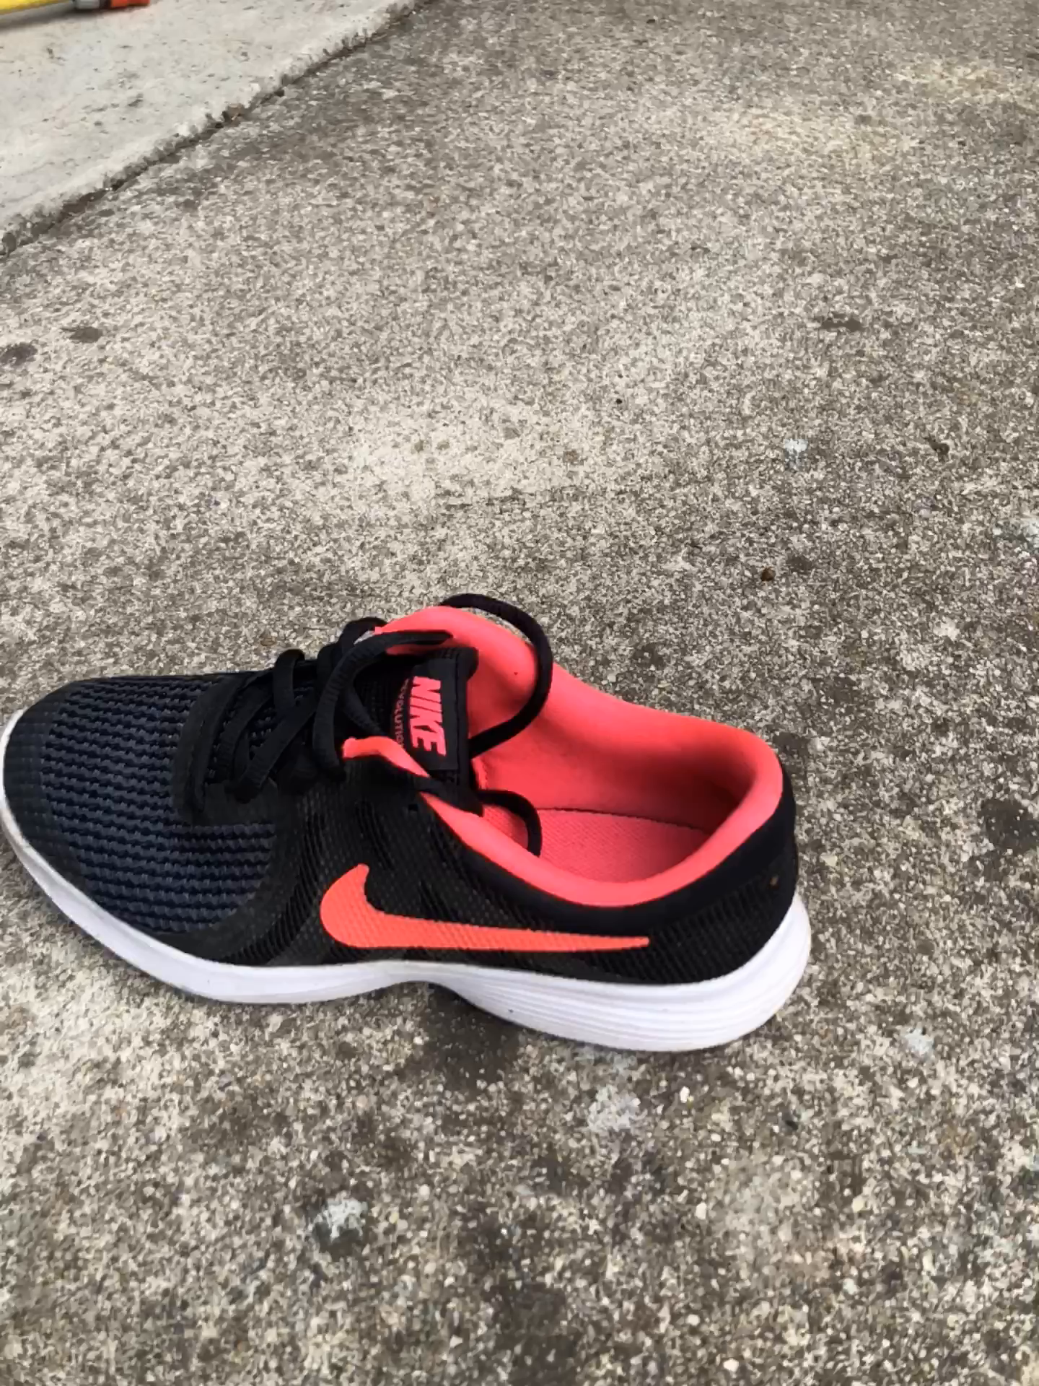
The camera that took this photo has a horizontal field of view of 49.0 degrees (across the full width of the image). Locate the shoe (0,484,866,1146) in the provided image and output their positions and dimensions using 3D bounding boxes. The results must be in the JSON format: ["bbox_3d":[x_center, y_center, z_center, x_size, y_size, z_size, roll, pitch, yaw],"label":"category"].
[{"bbox_3d":[-0.049,0.030,0.341,0.272,0.100,0.111,10,50,10],"label":"shoe"}]
